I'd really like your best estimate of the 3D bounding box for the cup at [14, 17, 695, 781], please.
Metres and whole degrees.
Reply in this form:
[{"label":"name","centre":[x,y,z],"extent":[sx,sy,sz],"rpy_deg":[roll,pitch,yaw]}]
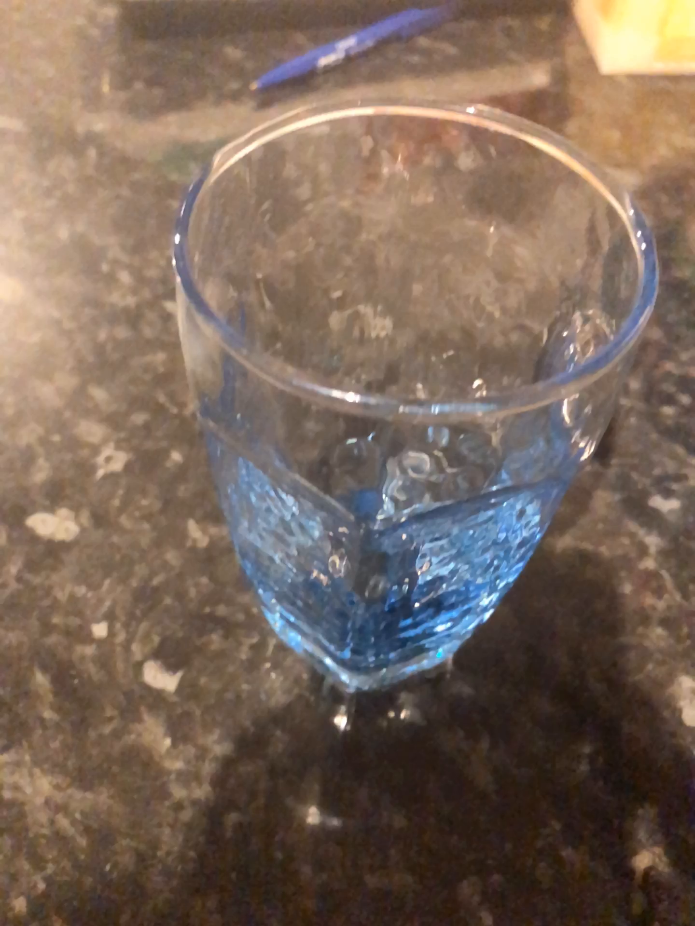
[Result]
[{"label":"cup","centre":[0.001,-0.005,0.163],"extent":[0.070,0.119,0.080],"rpy_deg":[-35,62,-24]}]
